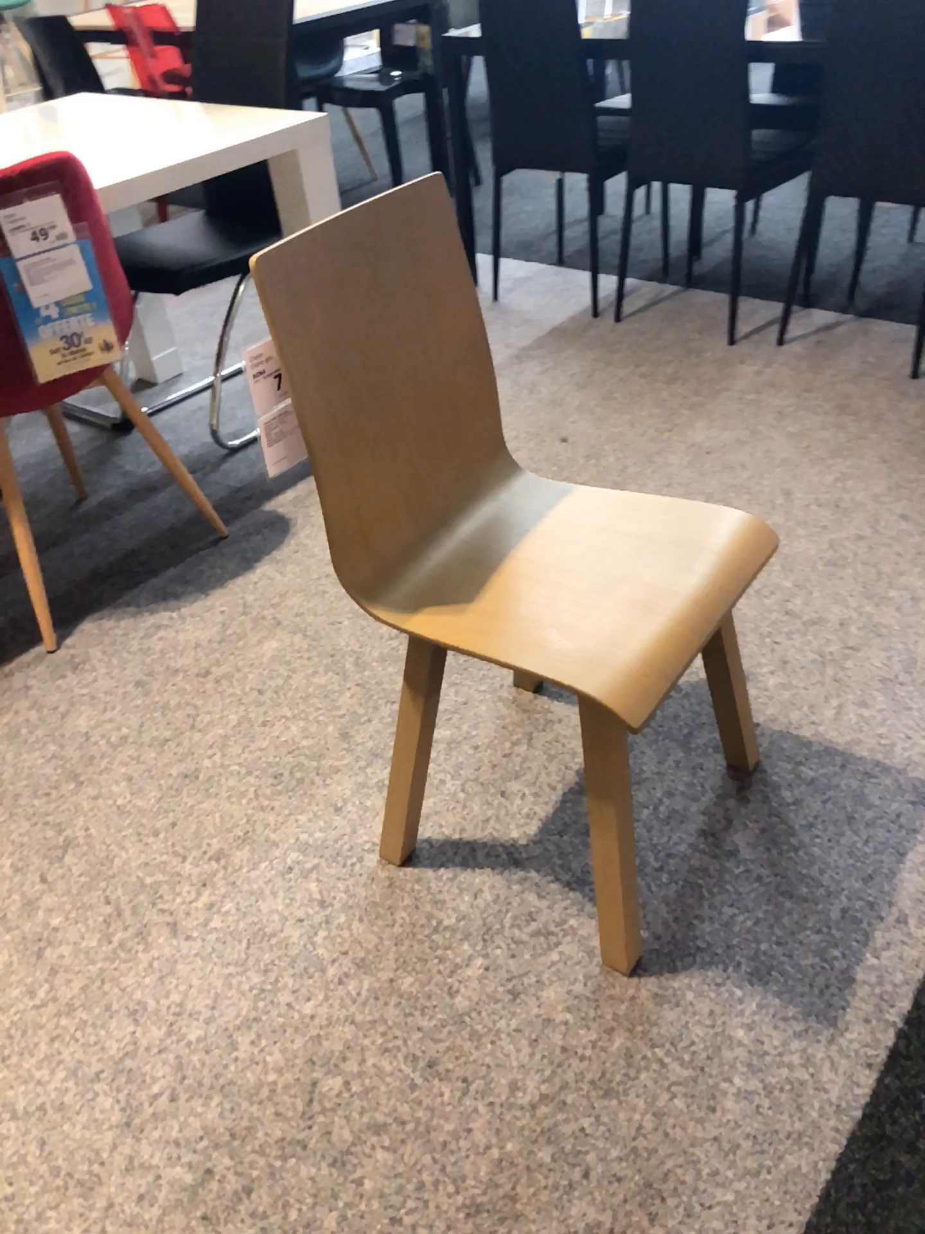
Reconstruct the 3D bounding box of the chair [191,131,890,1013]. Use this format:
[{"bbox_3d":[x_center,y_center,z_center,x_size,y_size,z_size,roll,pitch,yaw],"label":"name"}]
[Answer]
[{"bbox_3d":[0.130,-0.071,1.238,0.490,0.835,0.523,18,43,29],"label":"chair"}]
